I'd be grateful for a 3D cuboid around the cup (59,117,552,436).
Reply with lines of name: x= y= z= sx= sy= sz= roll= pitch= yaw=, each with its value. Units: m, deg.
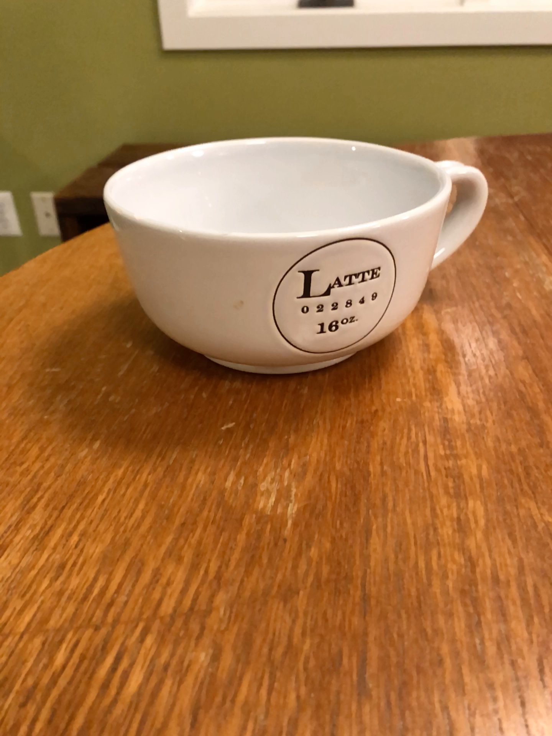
cup: x=0.020 y=-0.060 z=0.269 sx=0.180 sy=0.055 sz=0.139 roll=-20 pitch=36 yaw=-26
